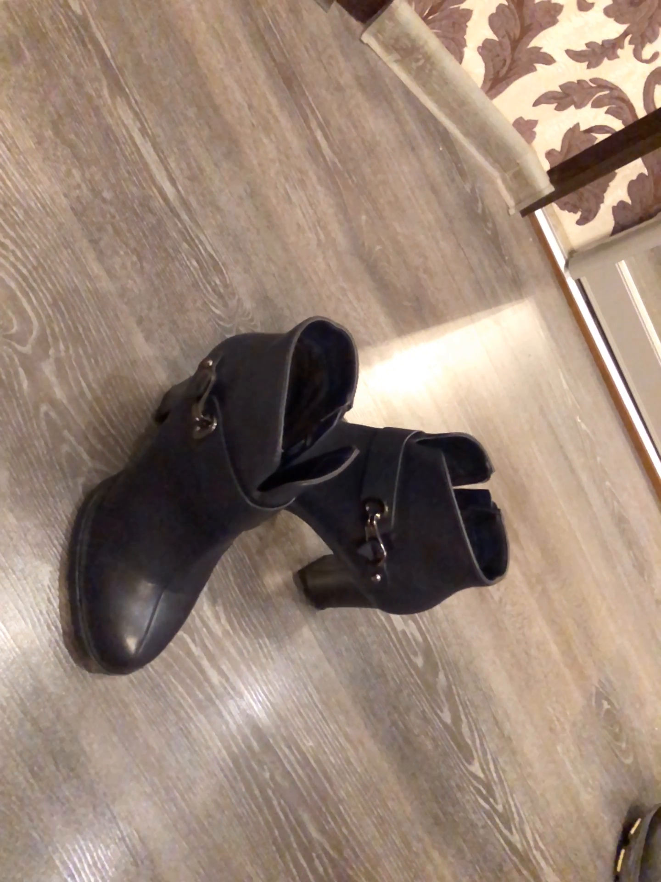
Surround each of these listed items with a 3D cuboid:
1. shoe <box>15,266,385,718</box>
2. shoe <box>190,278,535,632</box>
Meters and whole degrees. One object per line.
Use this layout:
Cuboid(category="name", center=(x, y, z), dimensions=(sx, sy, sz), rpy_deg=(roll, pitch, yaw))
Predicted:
Cuboid(category="shoe", center=(-0.080, 0.039, 0.435), dimensions=(0.090, 0.189, 0.211), rpy_deg=(26, 63, -32))
Cuboid(category="shoe", center=(0.013, 0.020, 0.528), dimensions=(0.090, 0.189, 0.210), rpy_deg=(-18, 90, -41))
